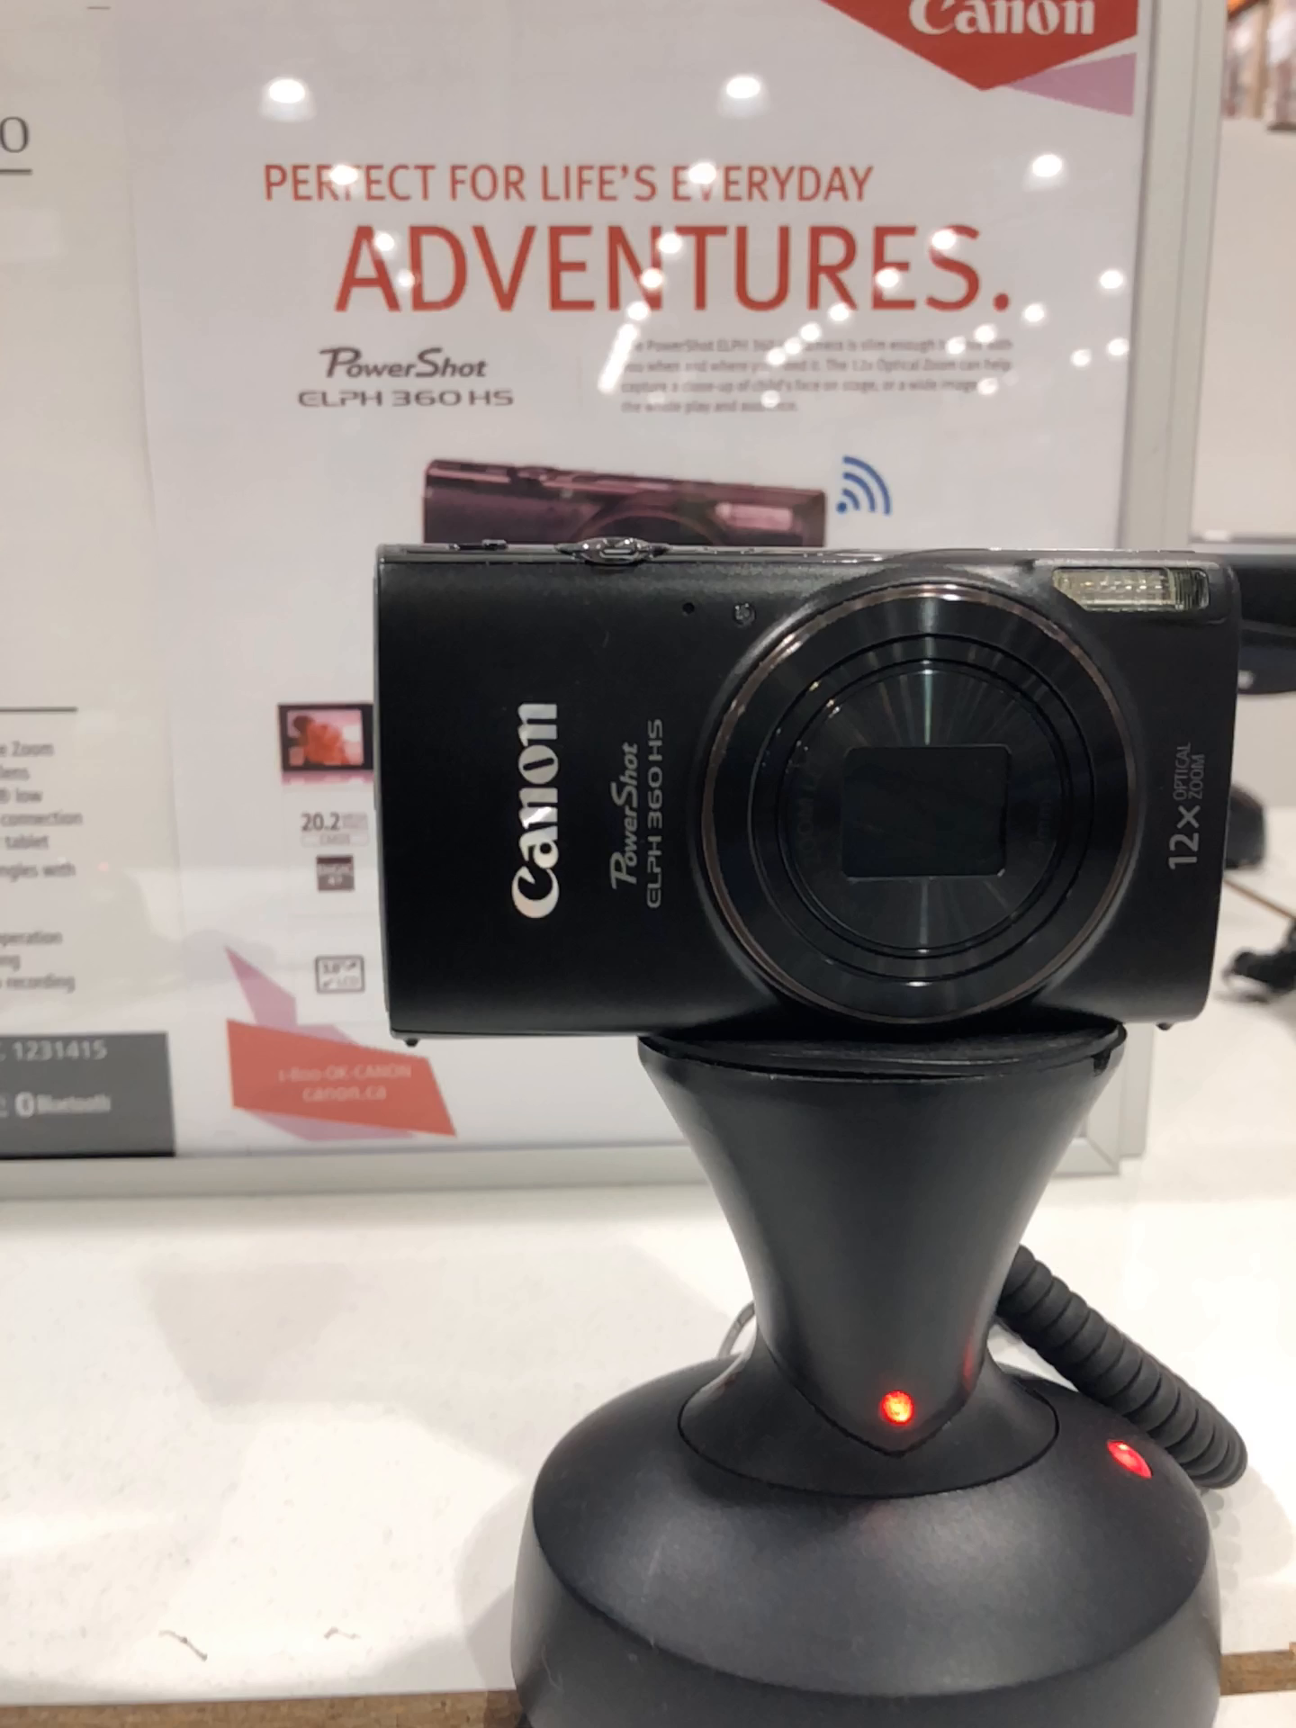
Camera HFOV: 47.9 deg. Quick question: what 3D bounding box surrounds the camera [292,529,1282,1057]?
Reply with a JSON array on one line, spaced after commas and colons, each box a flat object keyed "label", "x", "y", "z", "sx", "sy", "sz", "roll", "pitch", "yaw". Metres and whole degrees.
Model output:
[{"label": "camera", "x": 0.015, "y": -0.011, "z": 0.181, "sx": 0.110, "sy": 0.060, "sz": 0.030, "roll": 0, "pitch": 12, "yaw": -4}]
